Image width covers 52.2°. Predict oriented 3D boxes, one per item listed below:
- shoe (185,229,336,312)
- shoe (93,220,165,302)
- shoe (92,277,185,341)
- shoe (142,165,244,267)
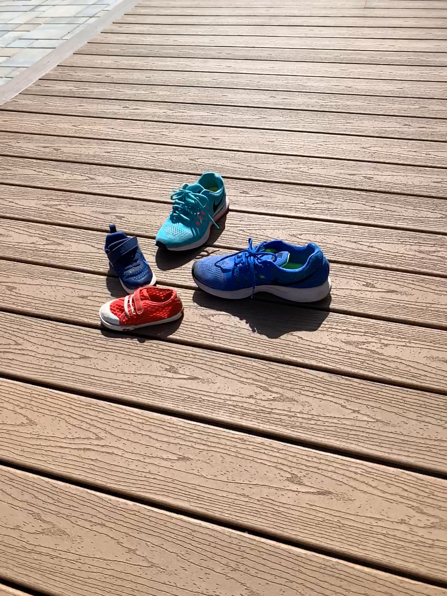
[{"bbox_3d":[0.079,-0.061,0.951,0.290,0.090,0.120,6,46,10],"label":"shoe"},{"bbox_3d":[-0.207,-0.085,0.996,0.090,0.070,0.171,-23,48,-18],"label":"shoe"},{"bbox_3d":[-0.169,0.020,0.909,0.170,0.060,0.080,-10,46,-5],"label":"shoe"},{"bbox_3d":[-0.064,-0.207,1.106,0.120,0.090,0.271,18,50,21],"label":"shoe"}]
